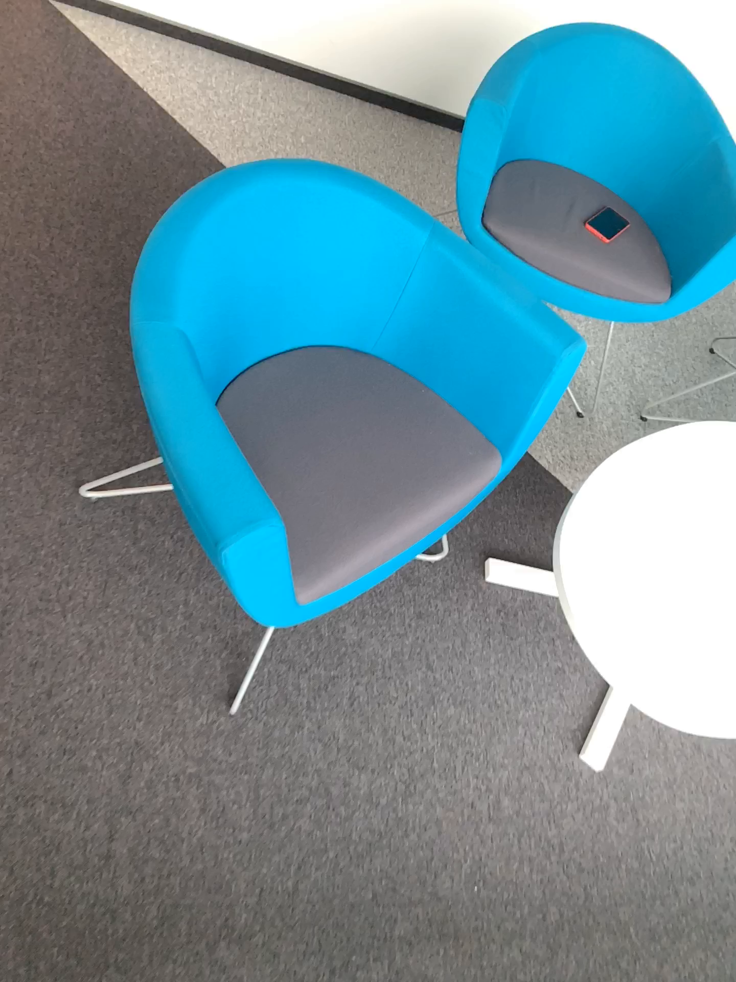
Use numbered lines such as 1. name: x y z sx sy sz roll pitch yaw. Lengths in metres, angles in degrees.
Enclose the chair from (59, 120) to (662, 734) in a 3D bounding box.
1. chair: -0.084 -0.107 1.436 0.713 0.757 0.640 -30 75 -34
